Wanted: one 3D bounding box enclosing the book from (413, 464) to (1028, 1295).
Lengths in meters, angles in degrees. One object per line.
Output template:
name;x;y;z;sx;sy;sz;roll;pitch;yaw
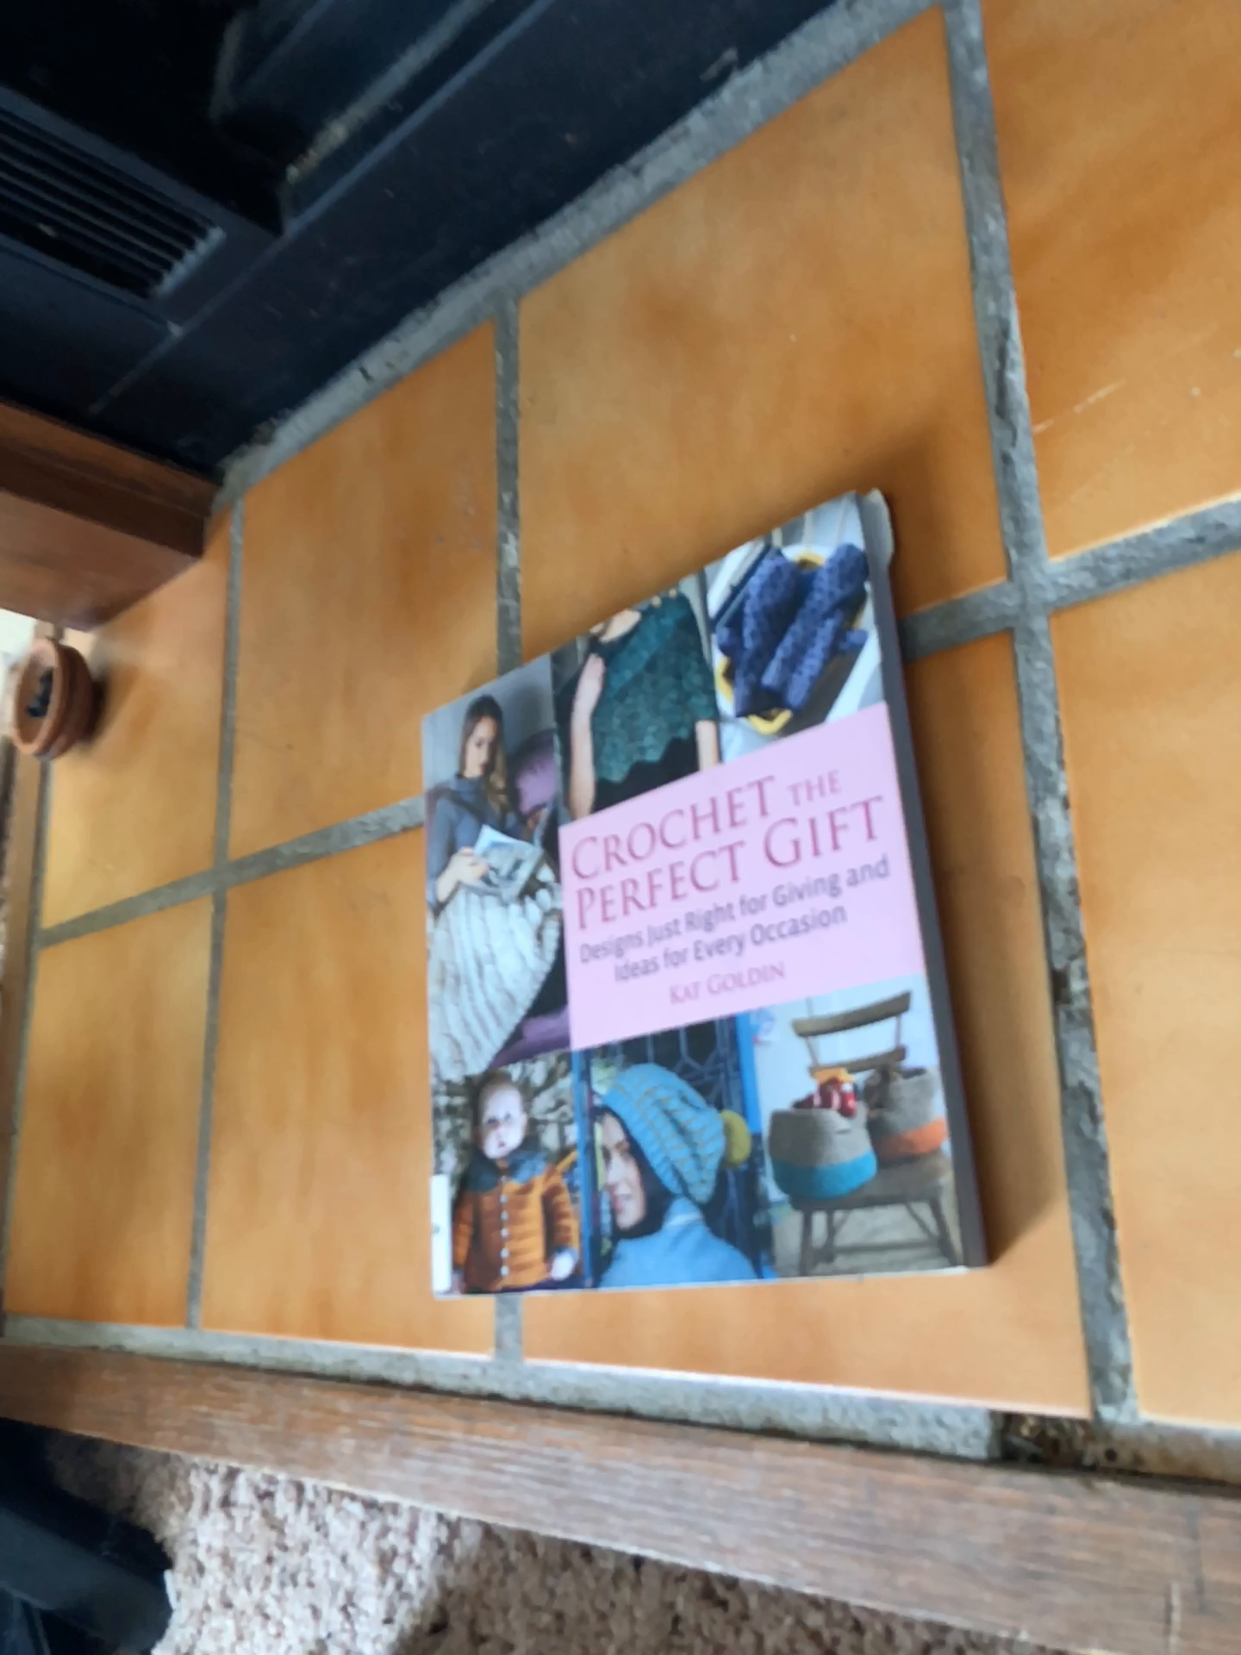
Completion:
book;0.010;0.030;0.434;0.219;0.020;0.221;-20;67;41
